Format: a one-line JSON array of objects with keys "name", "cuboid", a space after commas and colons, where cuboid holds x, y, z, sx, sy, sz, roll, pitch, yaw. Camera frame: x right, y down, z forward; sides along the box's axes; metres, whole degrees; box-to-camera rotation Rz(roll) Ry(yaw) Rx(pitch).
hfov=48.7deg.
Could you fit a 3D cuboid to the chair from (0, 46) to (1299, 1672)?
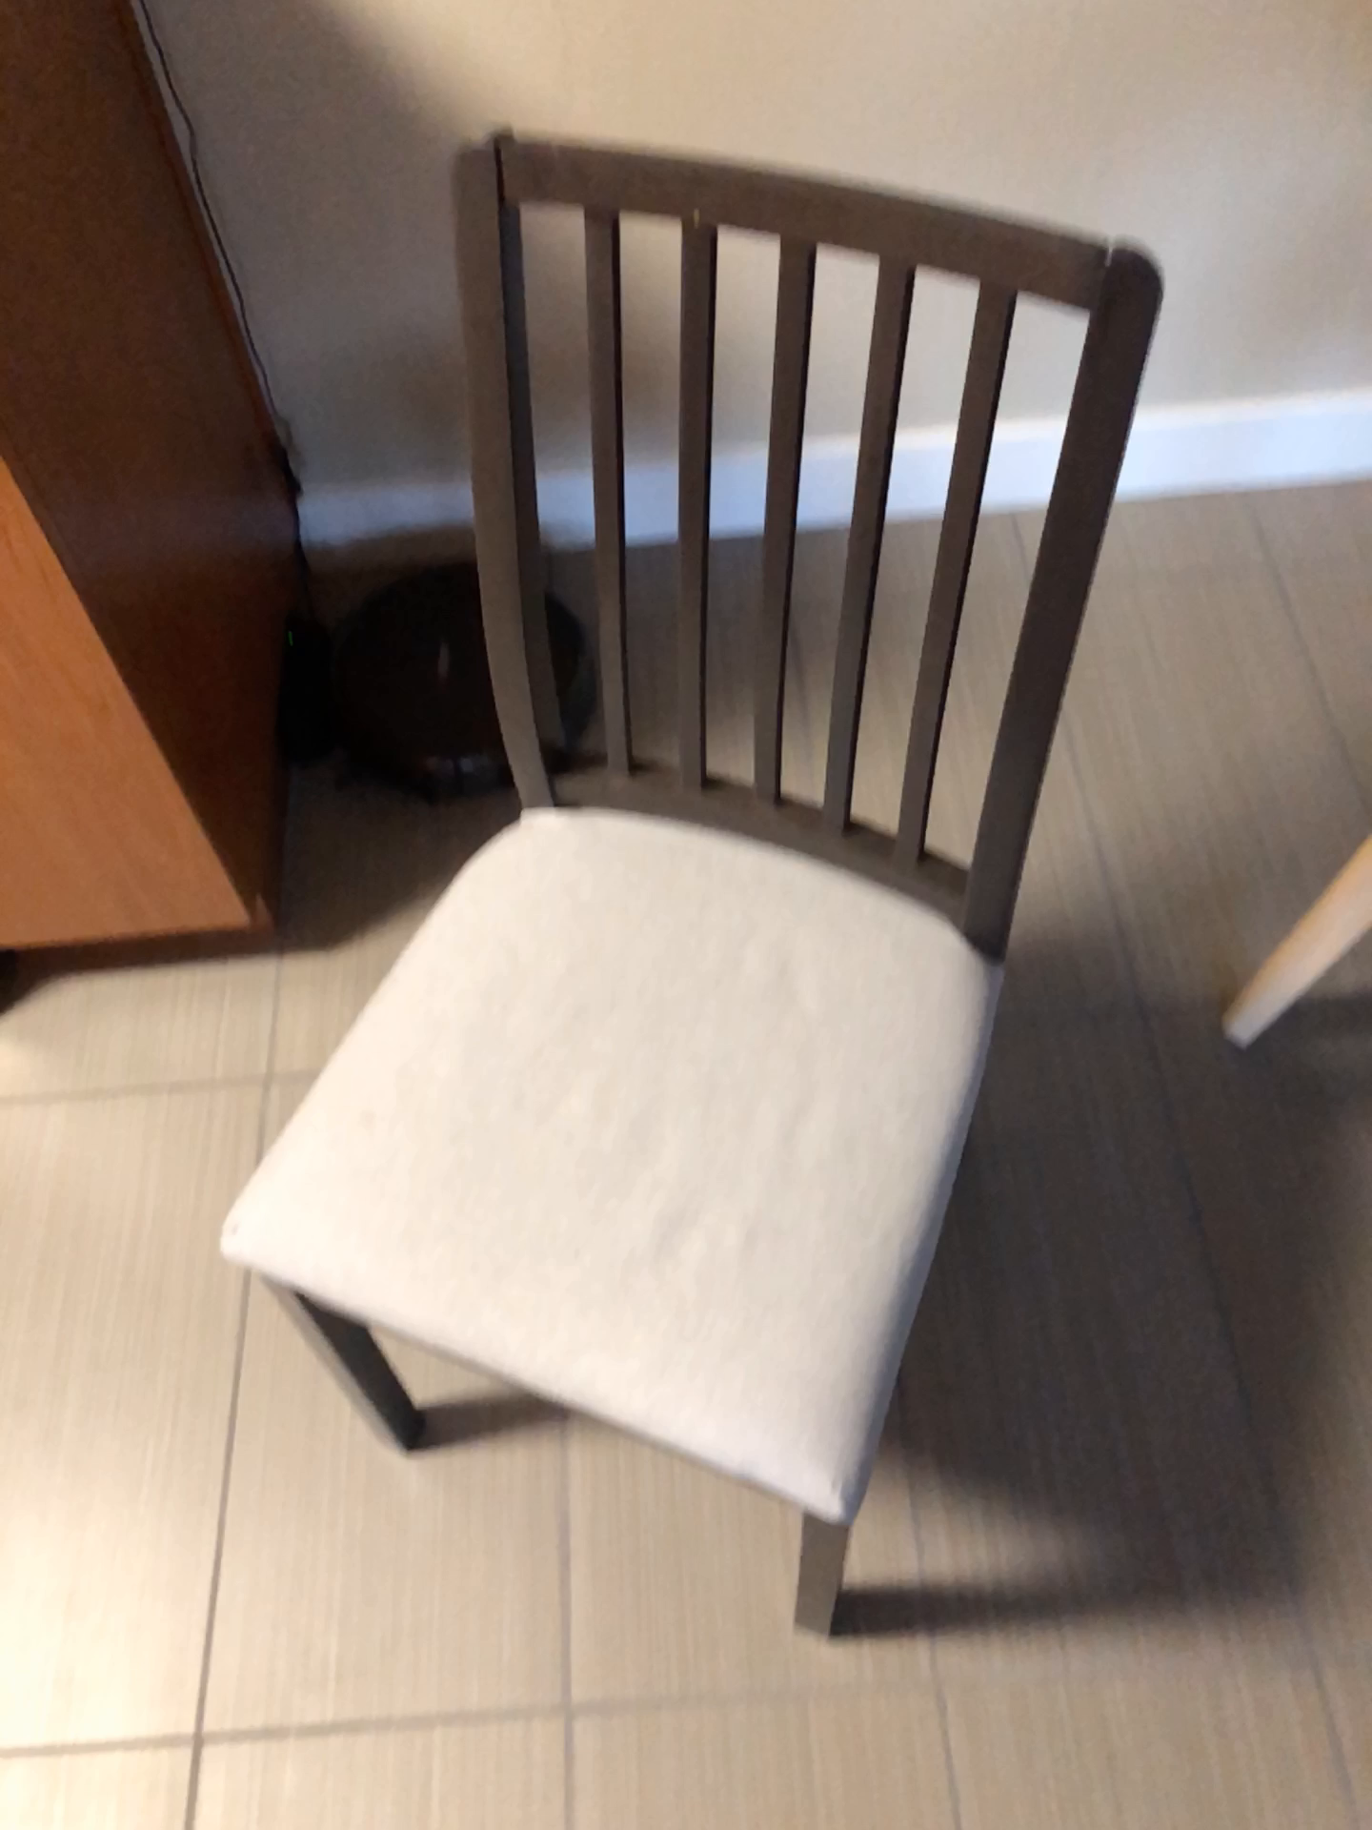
[{"name": "chair", "cuboid": [-0.006, 0.099, 1.126, 0.480, 1.126, 0.511, 21, 59, 17]}]
